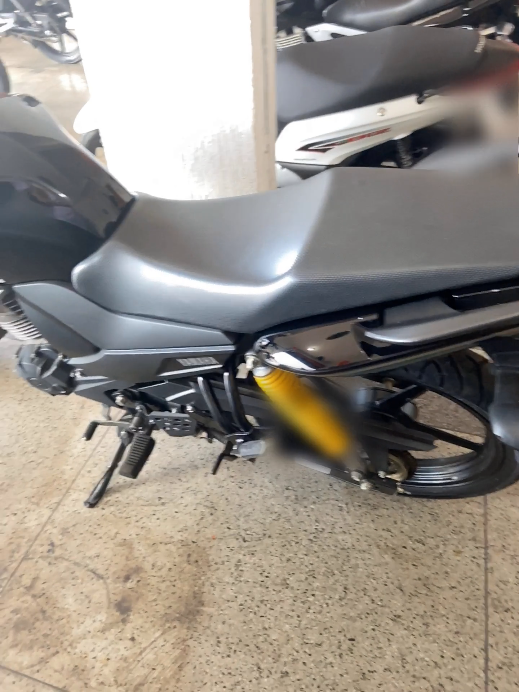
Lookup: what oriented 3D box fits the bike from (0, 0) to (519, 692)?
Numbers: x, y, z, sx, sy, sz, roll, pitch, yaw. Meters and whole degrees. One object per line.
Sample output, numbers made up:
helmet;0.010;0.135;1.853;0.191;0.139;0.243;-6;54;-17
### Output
bike;-0.342;0.037;1.013;2.002;1.331;0.820;6;42;10
